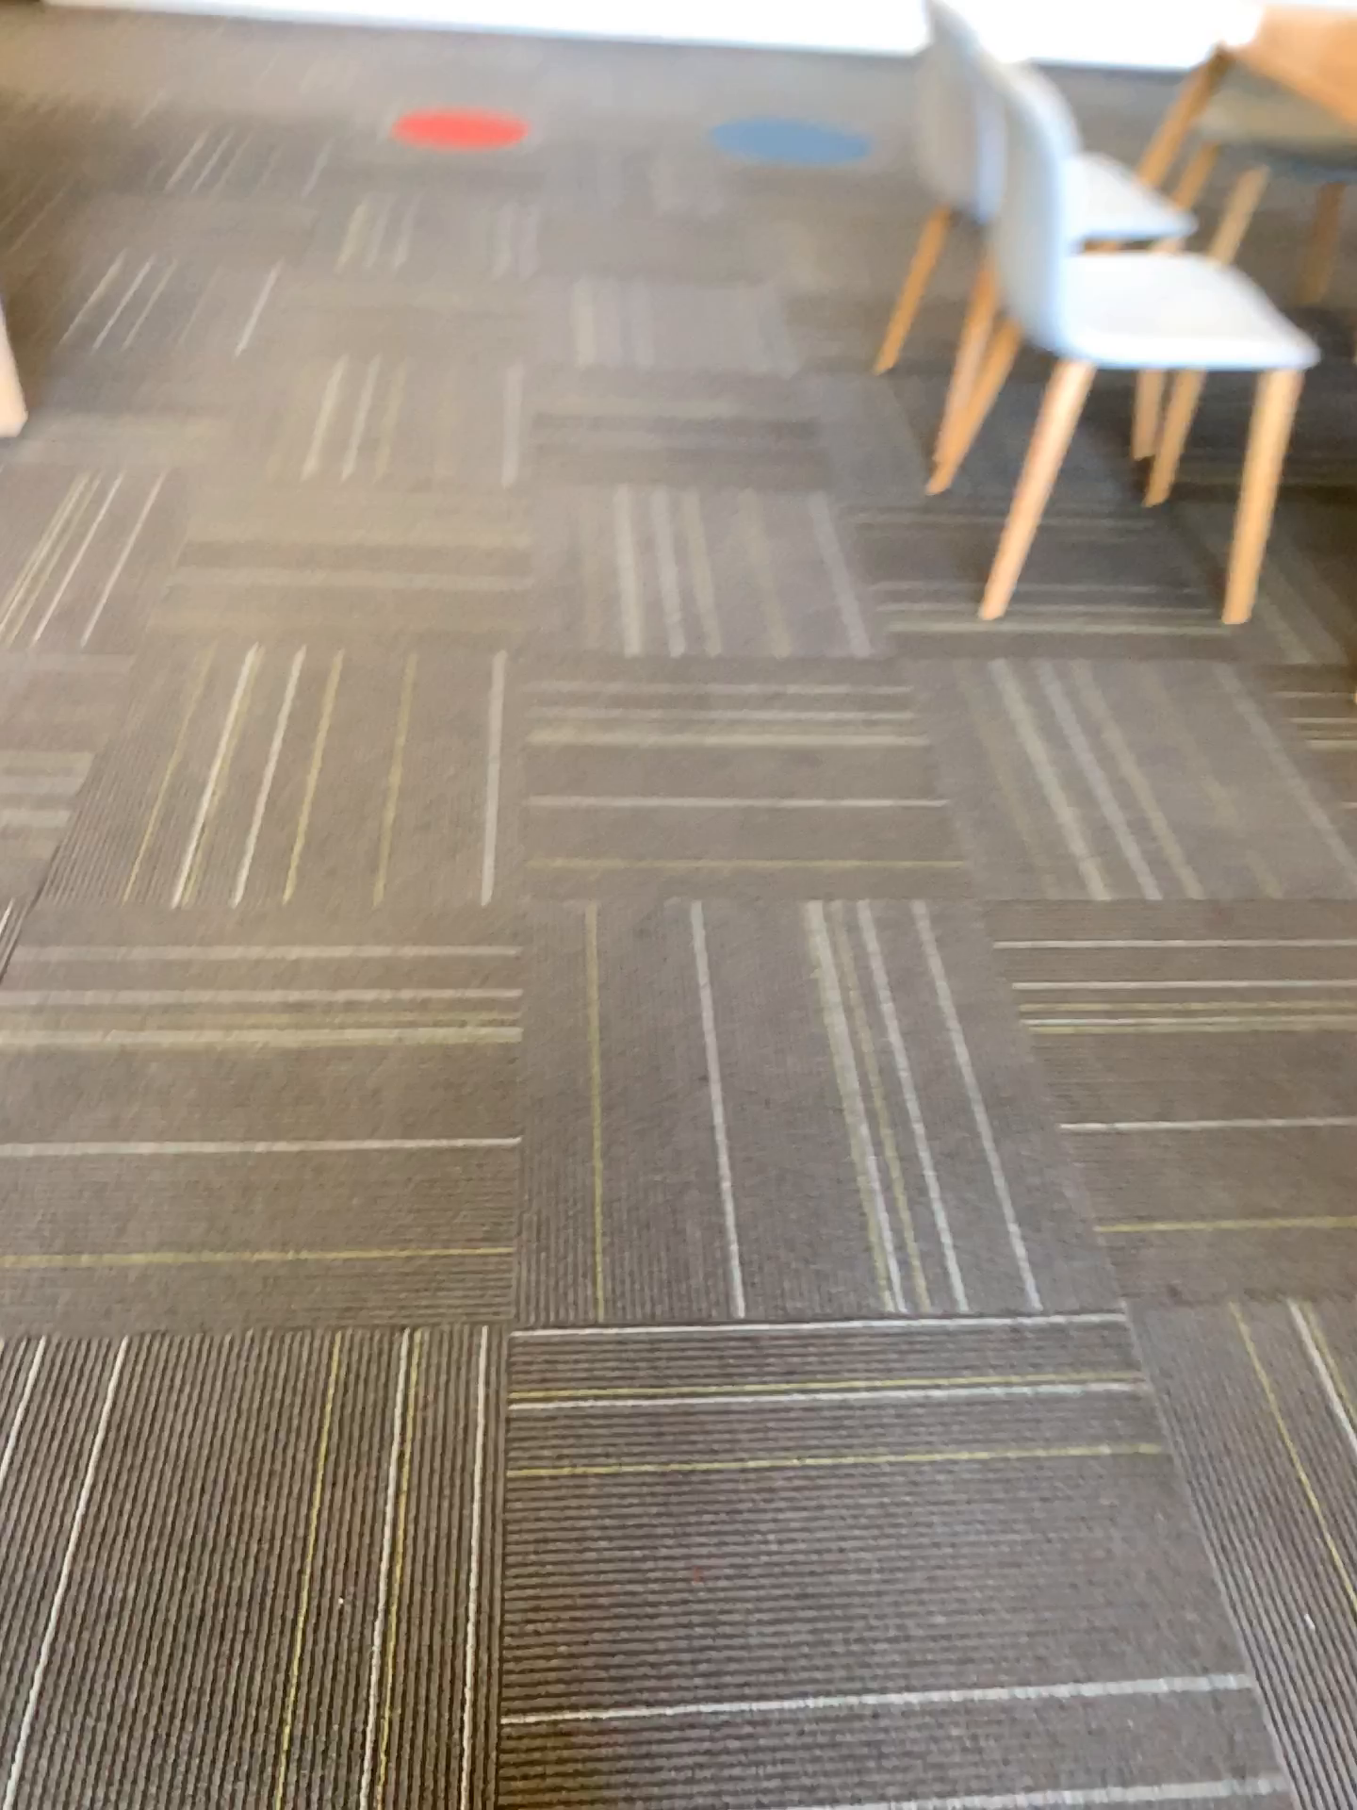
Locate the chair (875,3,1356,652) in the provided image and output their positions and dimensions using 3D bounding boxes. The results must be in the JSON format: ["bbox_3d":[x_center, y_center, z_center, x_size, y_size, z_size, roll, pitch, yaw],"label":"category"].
[{"bbox_3d":[0.700,-0.930,2.279,0.570,0.795,0.594,3,41,-3],"label":"chair"}]

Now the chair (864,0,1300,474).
[{"bbox_3d":[0.743,-1.368,2.812,0.530,0.775,0.574,0,42,-6],"label":"chair"}]
